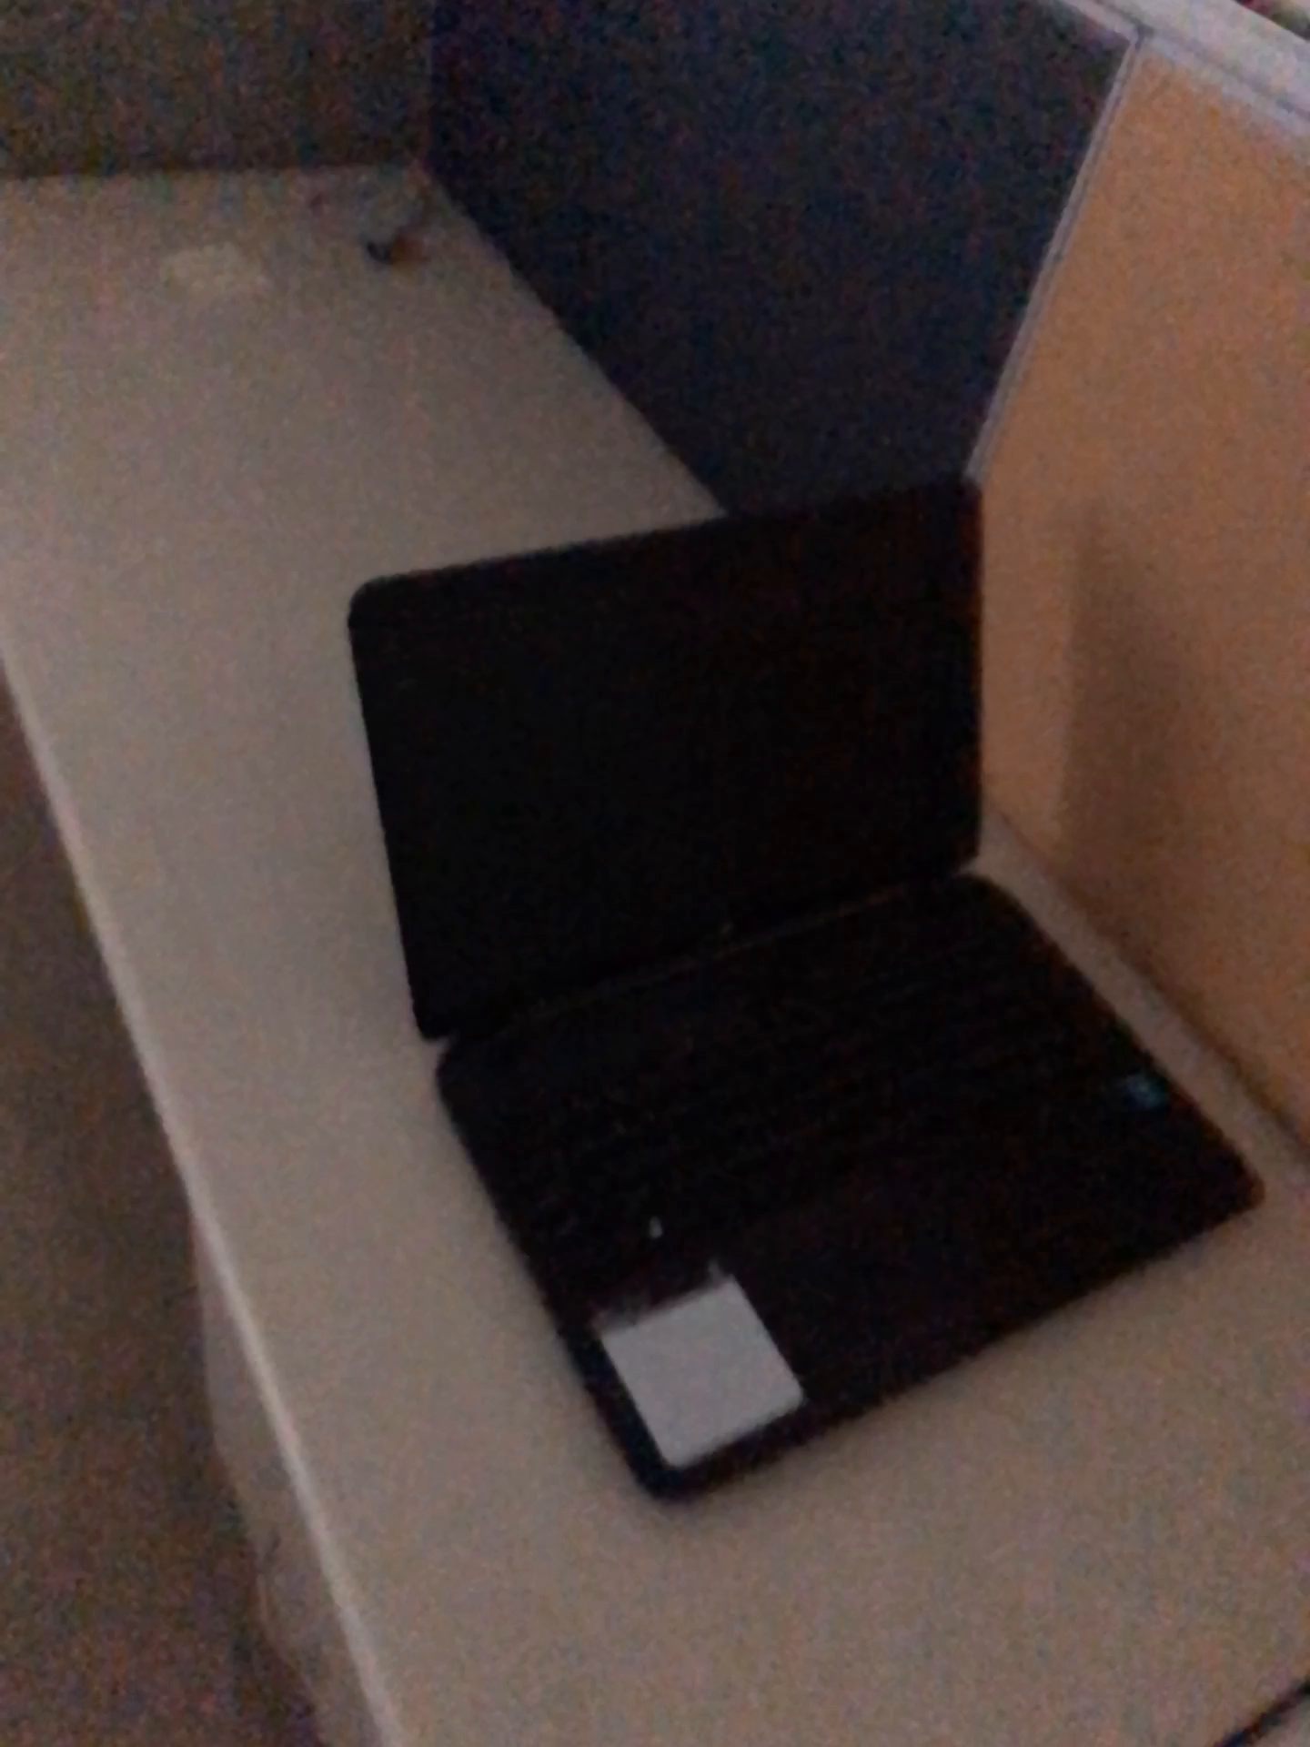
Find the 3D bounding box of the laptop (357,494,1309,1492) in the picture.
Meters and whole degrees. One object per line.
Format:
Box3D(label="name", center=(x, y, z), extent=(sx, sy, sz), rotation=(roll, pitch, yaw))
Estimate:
Box3D(label="laptop", center=(0.090, 0.023, 0.705), extent=(0.357, 0.205, 0.352), rotation=(-16, 51, -25))
